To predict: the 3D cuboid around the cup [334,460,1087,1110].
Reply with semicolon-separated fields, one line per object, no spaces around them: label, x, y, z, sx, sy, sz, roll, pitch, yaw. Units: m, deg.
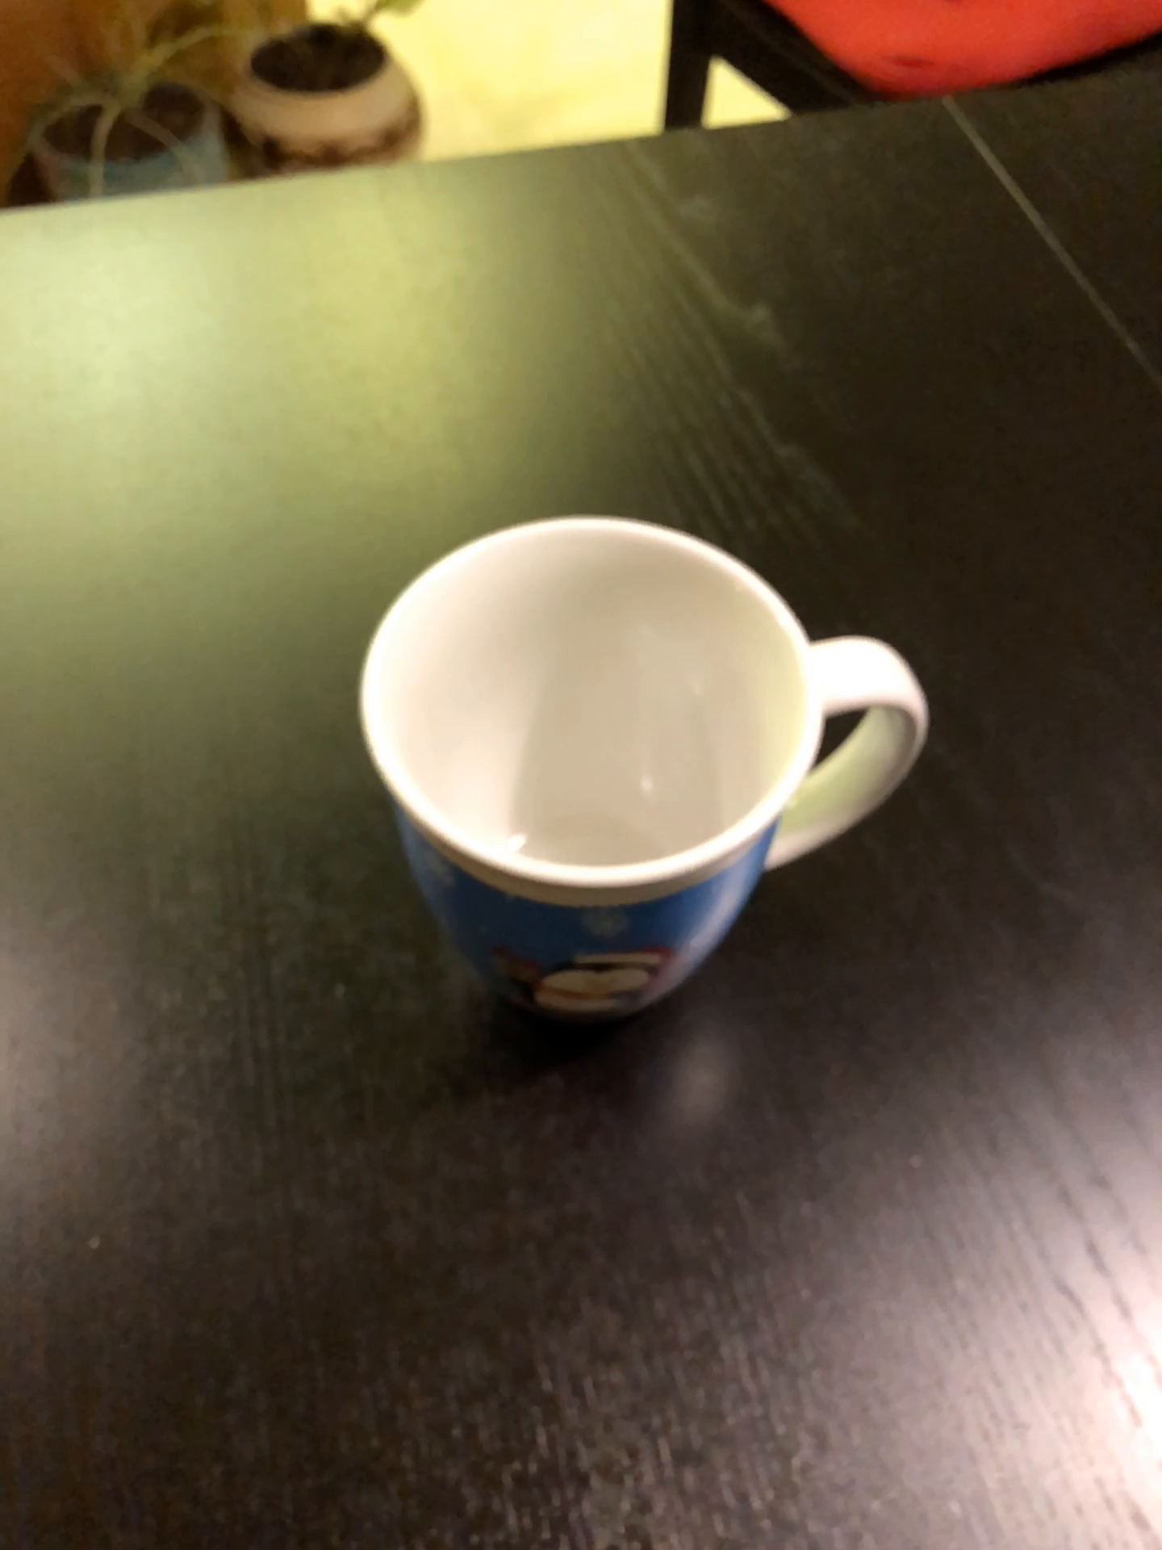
cup;0.021;0.003;0.322;0.140;0.100;0.100;-8;56;-7
